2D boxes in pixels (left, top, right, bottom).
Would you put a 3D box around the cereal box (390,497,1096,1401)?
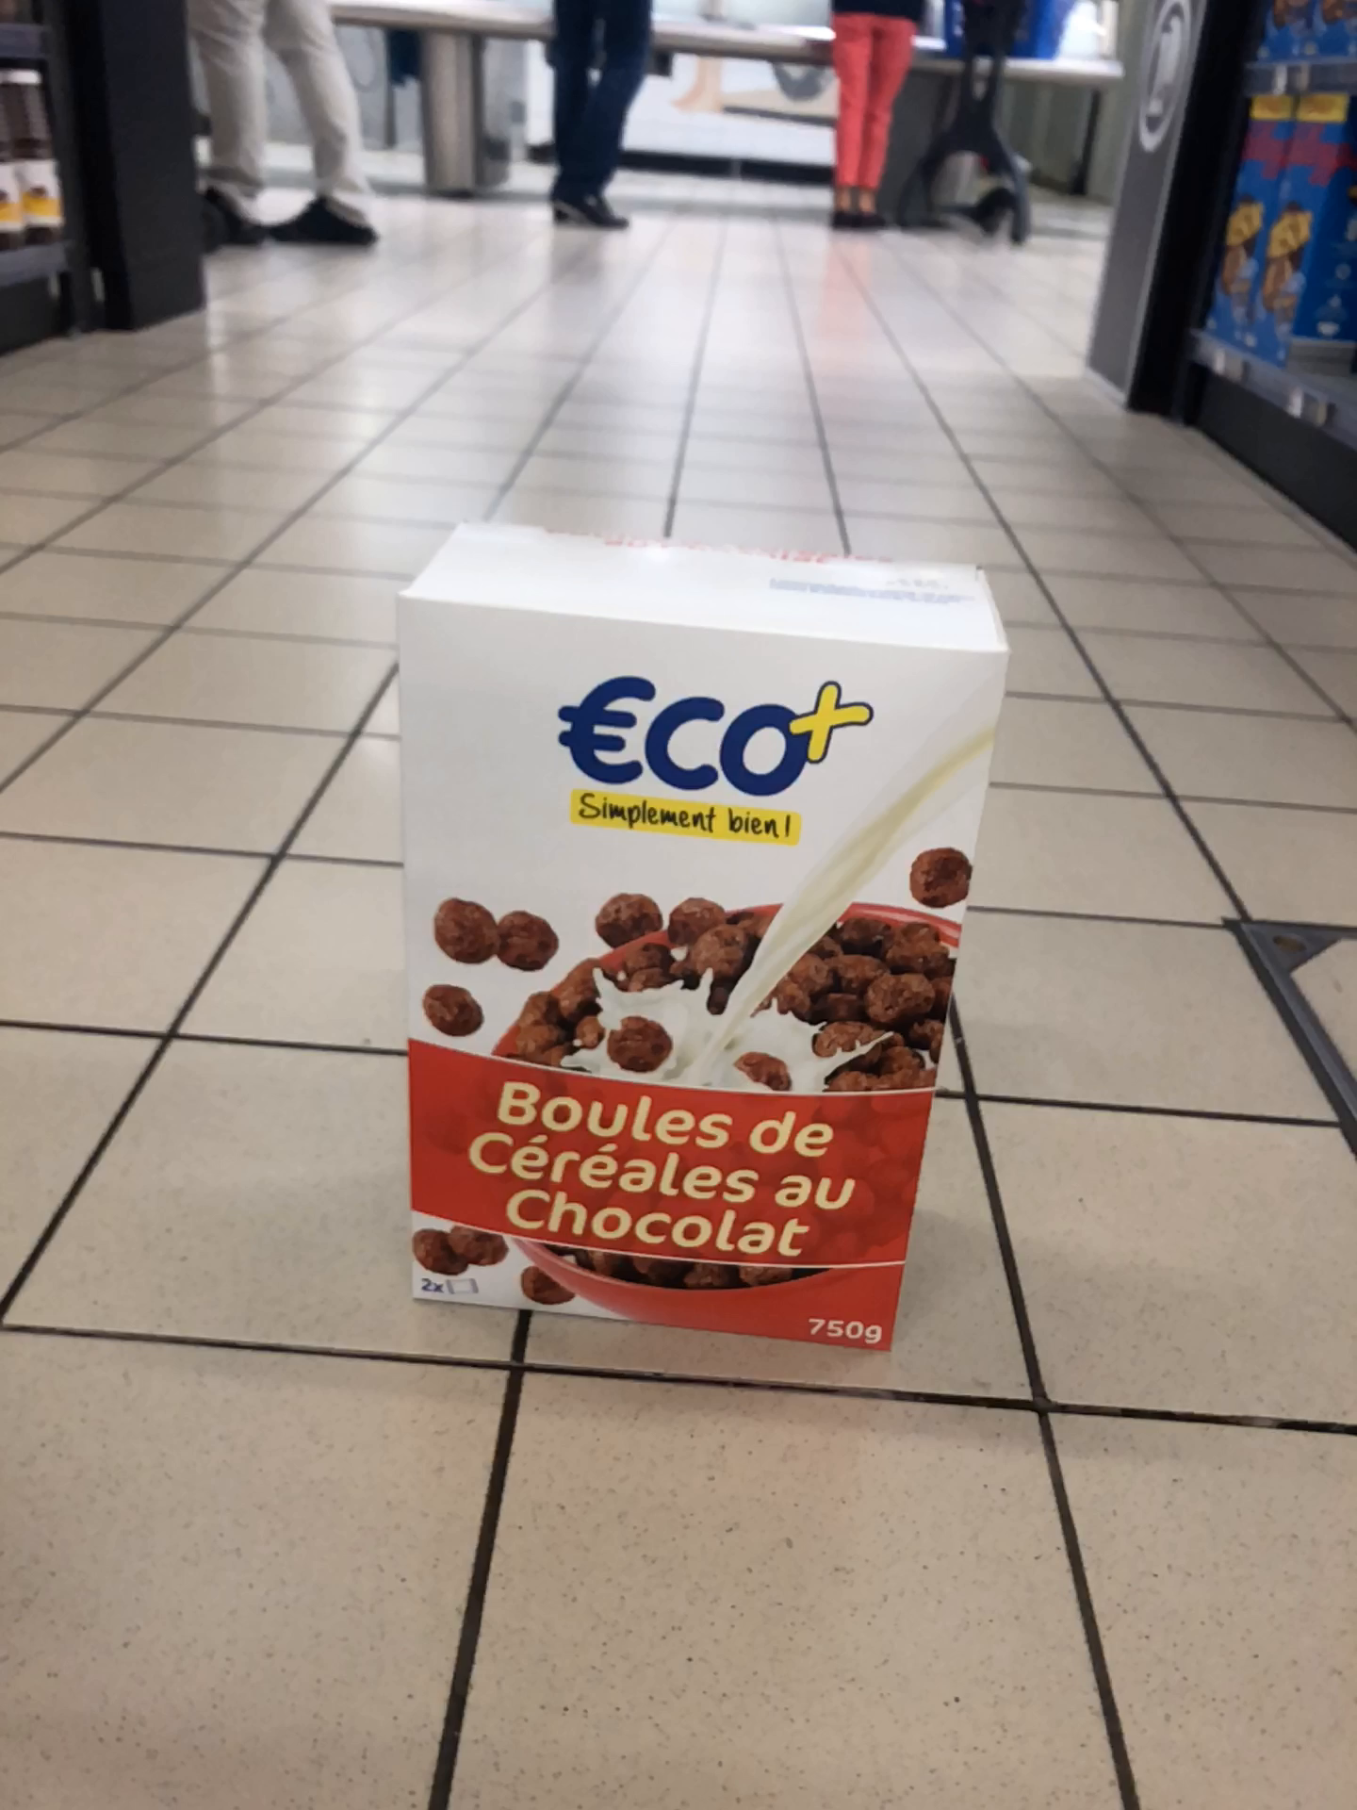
[{"bbox_3d":[0.013,0.021,0.557,0.210,0.298,0.101,7,27,4],"label":"cereal box"}]
